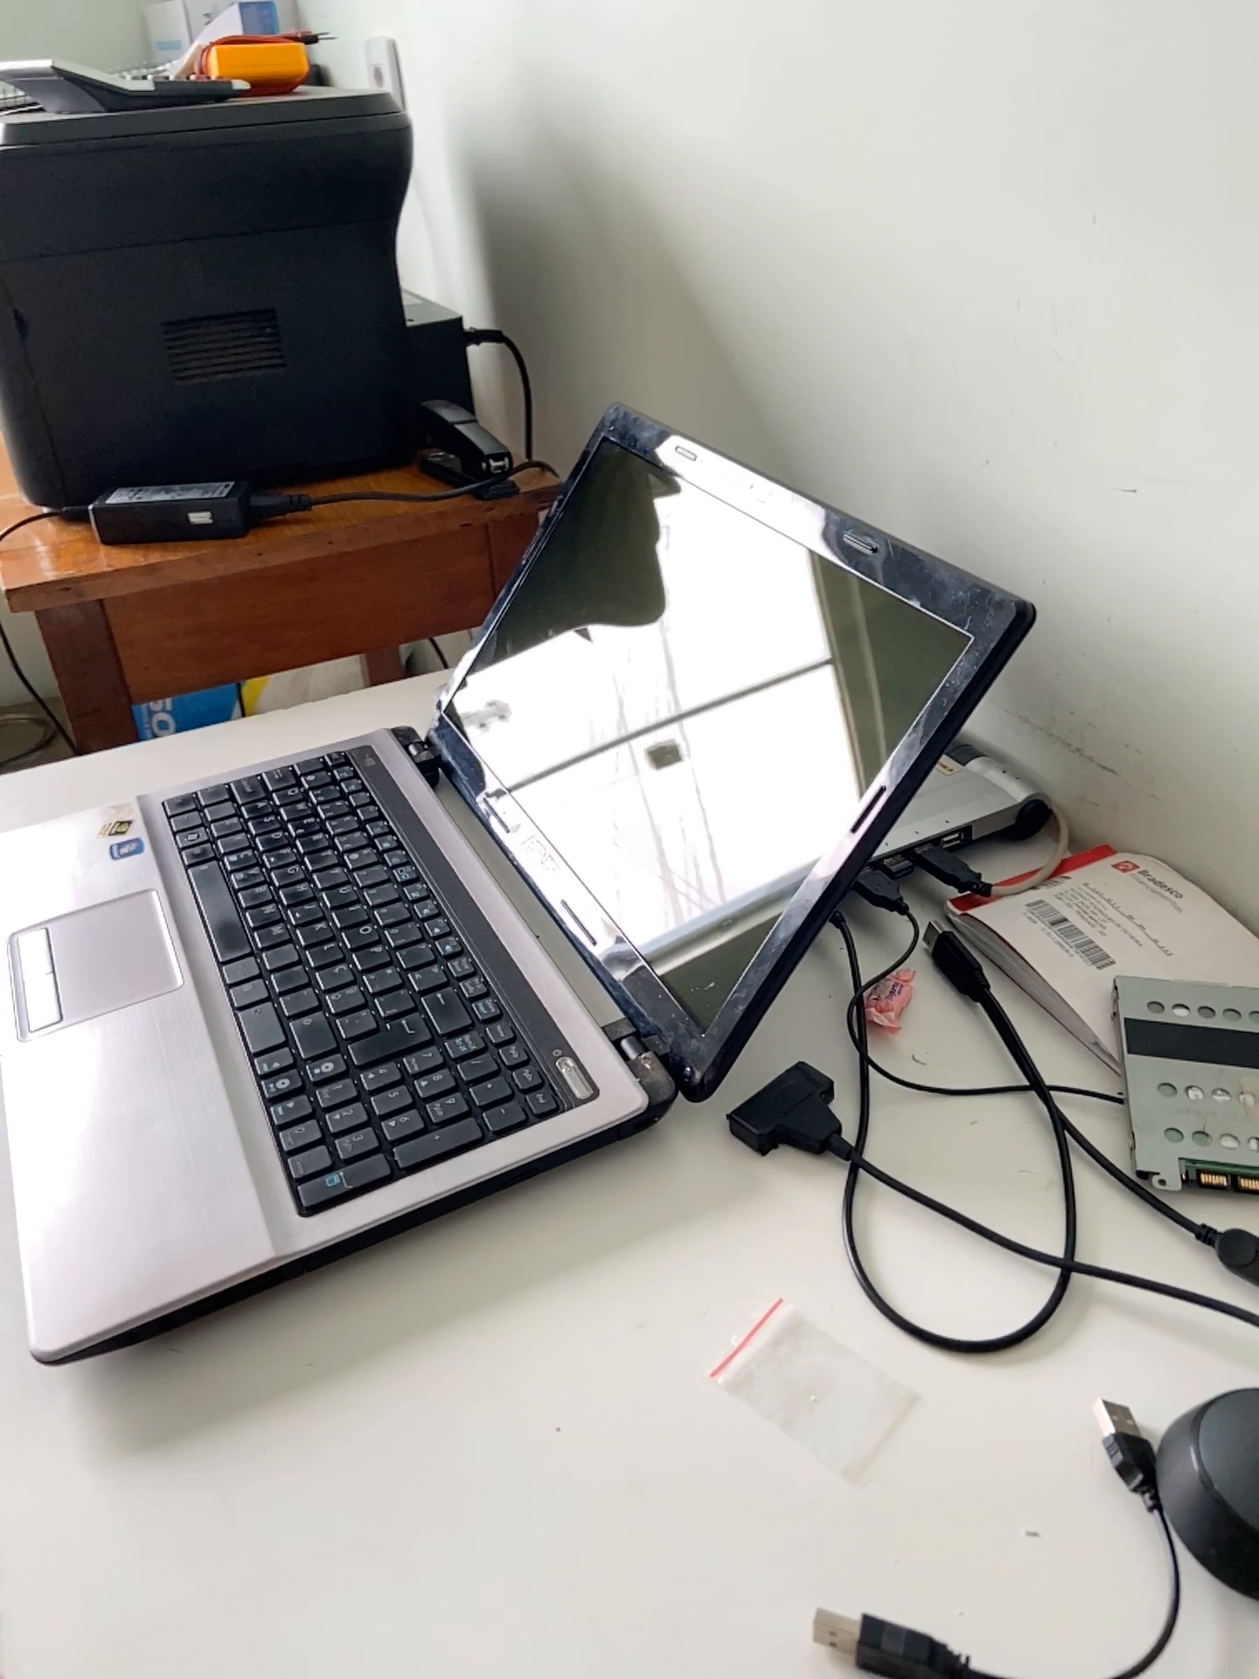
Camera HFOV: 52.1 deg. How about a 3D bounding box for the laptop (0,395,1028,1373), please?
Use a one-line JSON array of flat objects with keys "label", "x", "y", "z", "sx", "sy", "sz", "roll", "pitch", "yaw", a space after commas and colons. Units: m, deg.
[{"label": "laptop", "x": -0.107, "y": -0.043, "z": 0.617, "sx": 0.415, "sy": 0.179, "sz": 0.378, "roll": -19, "pitch": 35, "yaw": -19}]
